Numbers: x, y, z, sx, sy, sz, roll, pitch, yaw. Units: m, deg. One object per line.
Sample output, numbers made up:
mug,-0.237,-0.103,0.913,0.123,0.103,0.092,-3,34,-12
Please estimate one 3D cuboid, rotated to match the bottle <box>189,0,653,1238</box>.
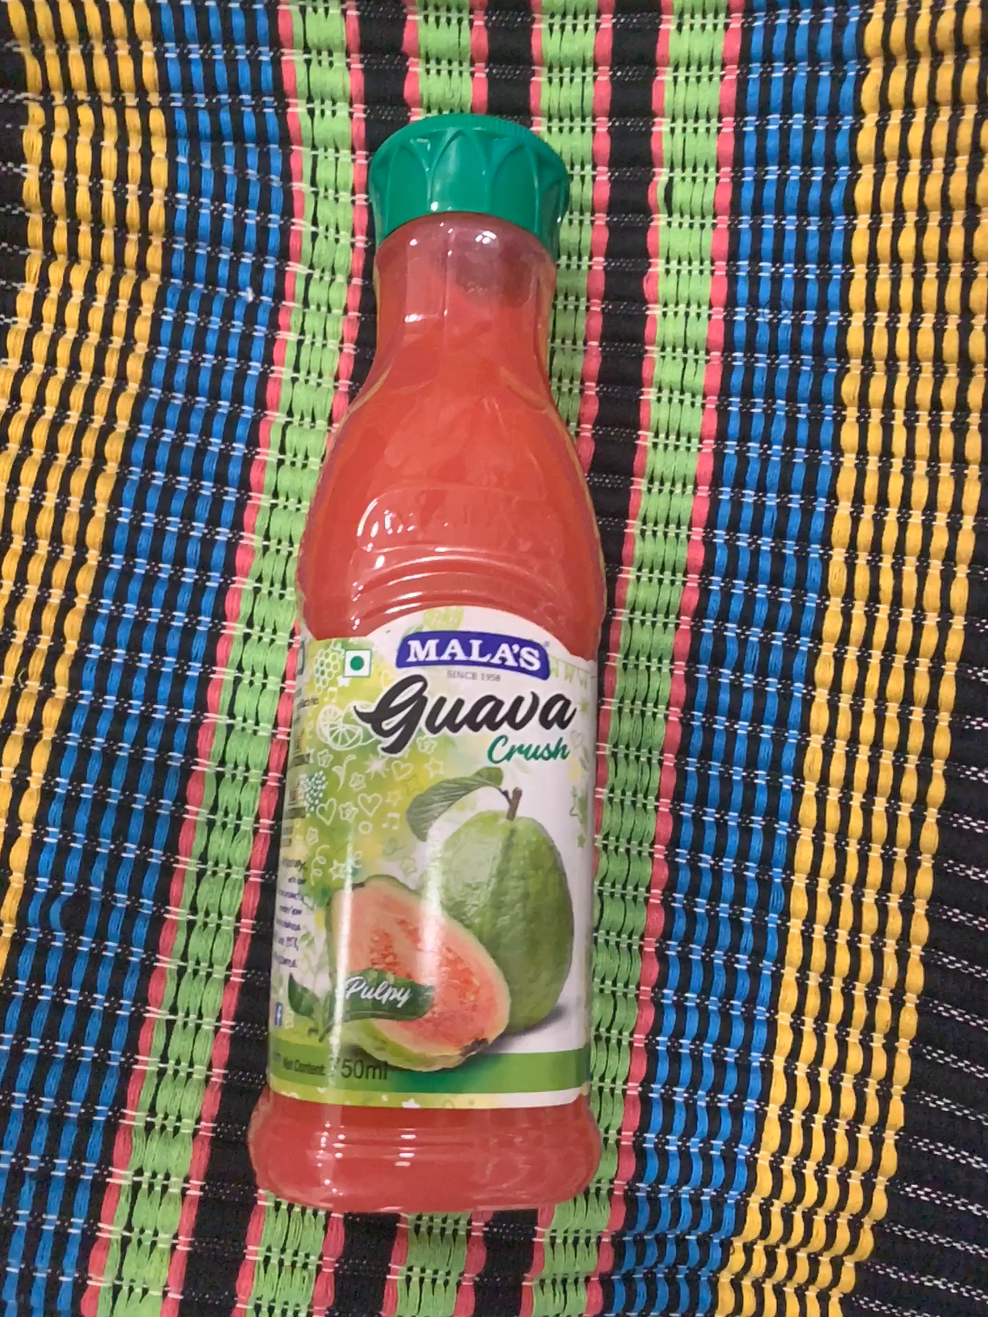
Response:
bottle,-0.016,-0.017,0.248,0.080,0.080,0.260,3,75,-8
